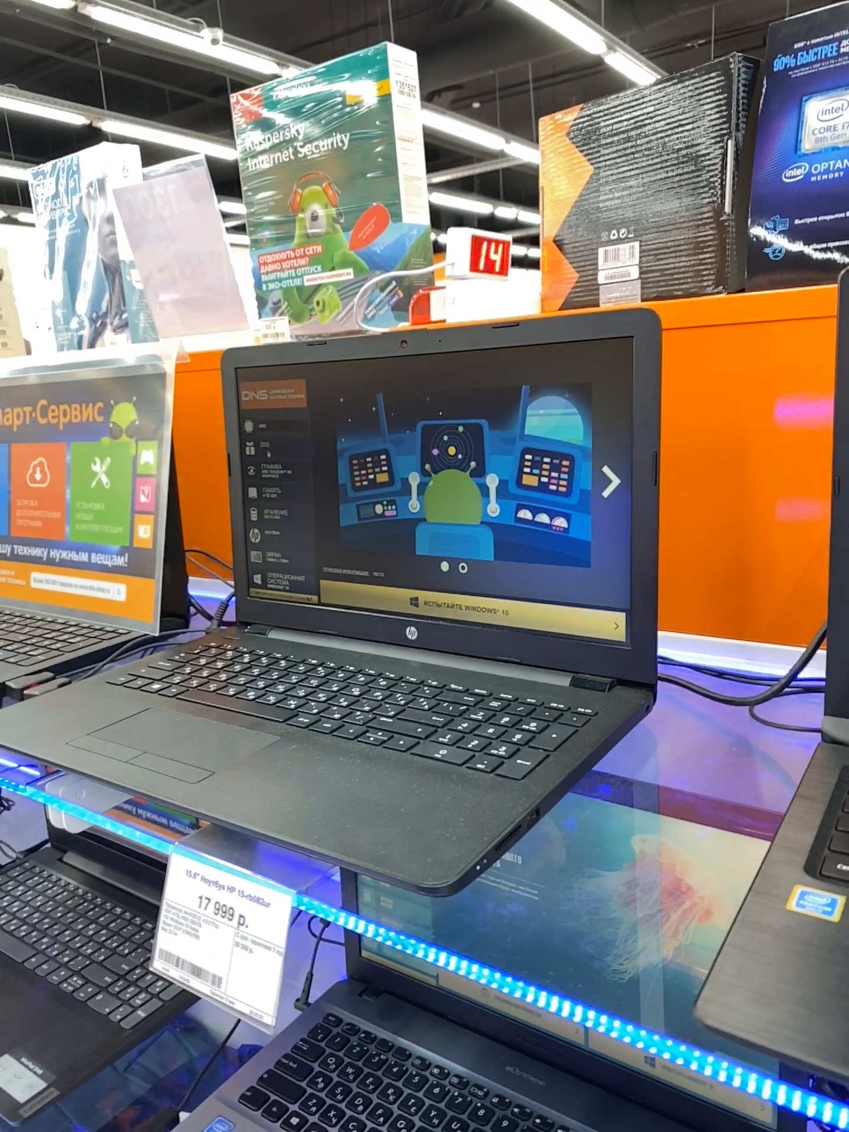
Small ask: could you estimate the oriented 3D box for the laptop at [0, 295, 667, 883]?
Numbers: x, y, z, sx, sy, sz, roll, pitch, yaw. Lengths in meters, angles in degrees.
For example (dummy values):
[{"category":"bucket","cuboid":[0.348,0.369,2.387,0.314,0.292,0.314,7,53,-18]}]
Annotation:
[{"category":"laptop","cuboid":[-0.078,-0.025,0.543,0.369,0.231,0.271,4,14,33]}]
